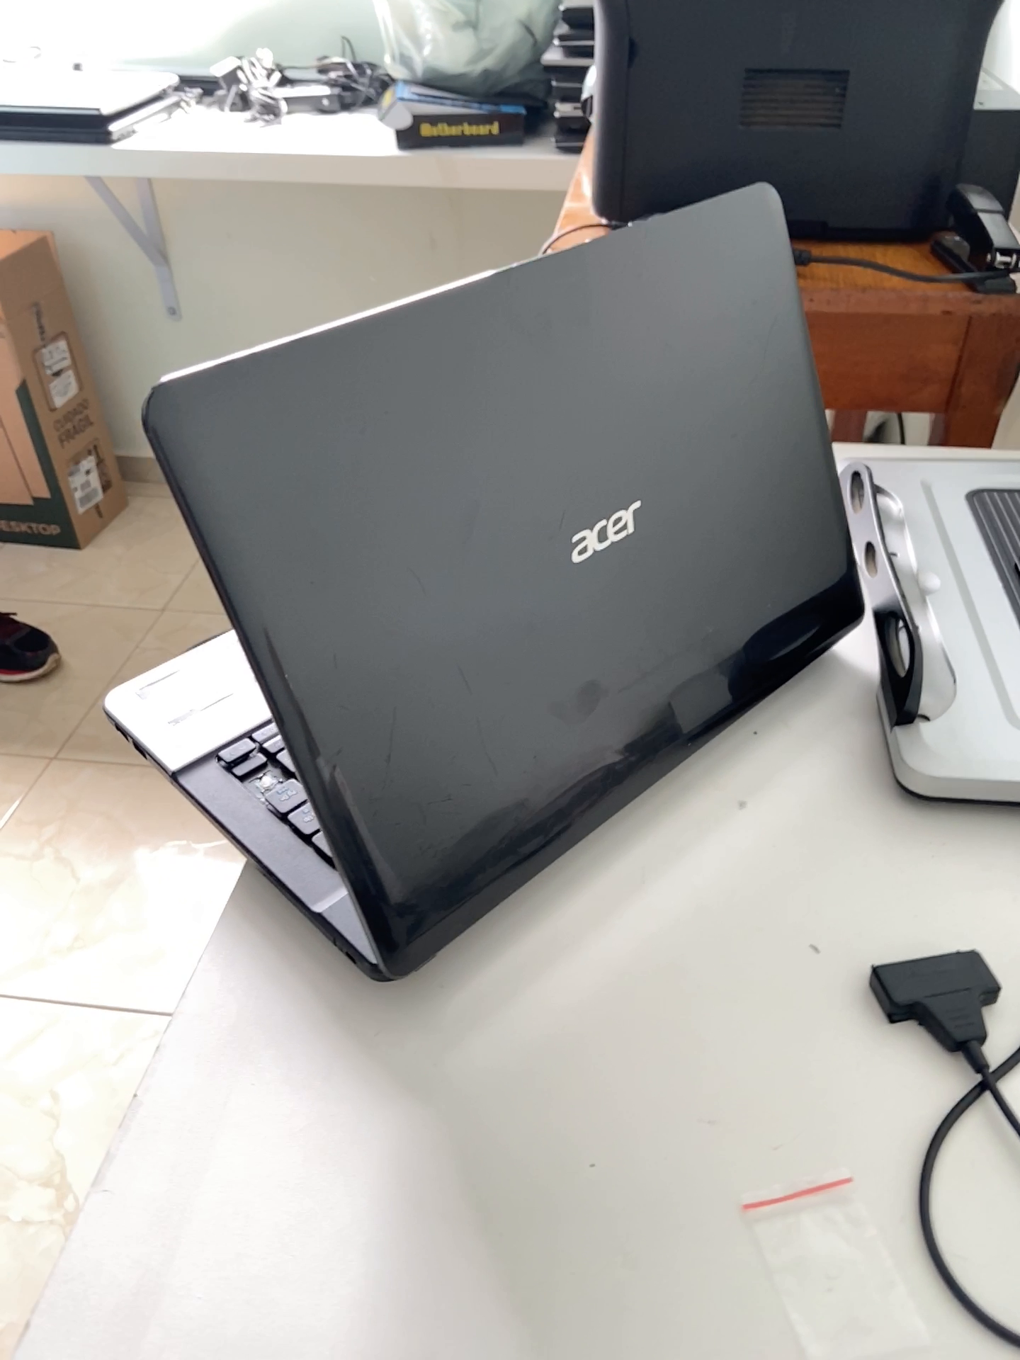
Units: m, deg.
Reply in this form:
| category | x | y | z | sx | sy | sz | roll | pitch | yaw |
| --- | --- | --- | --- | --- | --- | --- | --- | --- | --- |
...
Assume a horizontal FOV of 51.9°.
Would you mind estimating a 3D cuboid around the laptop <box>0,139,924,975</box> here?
| category | x | y | z | sx | sy | sz | roll | pitch | yaw |
| --- | --- | --- | --- | --- | --- | --- | --- | --- | --- |
| laptop | -0.019 | -0.095 | 0.499 | 0.328 | 0.211 | 0.239 | -32 | 47 | -32 |
